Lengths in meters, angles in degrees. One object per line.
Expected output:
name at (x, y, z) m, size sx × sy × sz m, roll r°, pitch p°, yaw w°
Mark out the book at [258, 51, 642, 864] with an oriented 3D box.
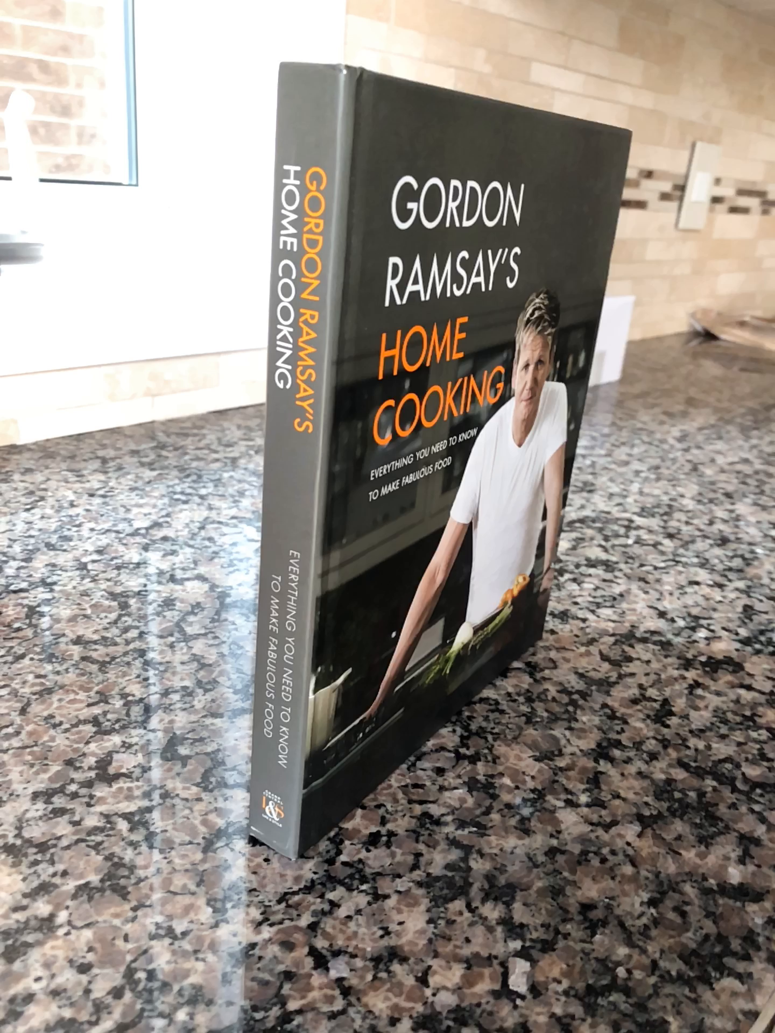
book at (0.033, -0.029, 0.356) m, size 0.028 × 0.261 × 0.217 m, roll 17°, pitch 25°, yaw 29°
